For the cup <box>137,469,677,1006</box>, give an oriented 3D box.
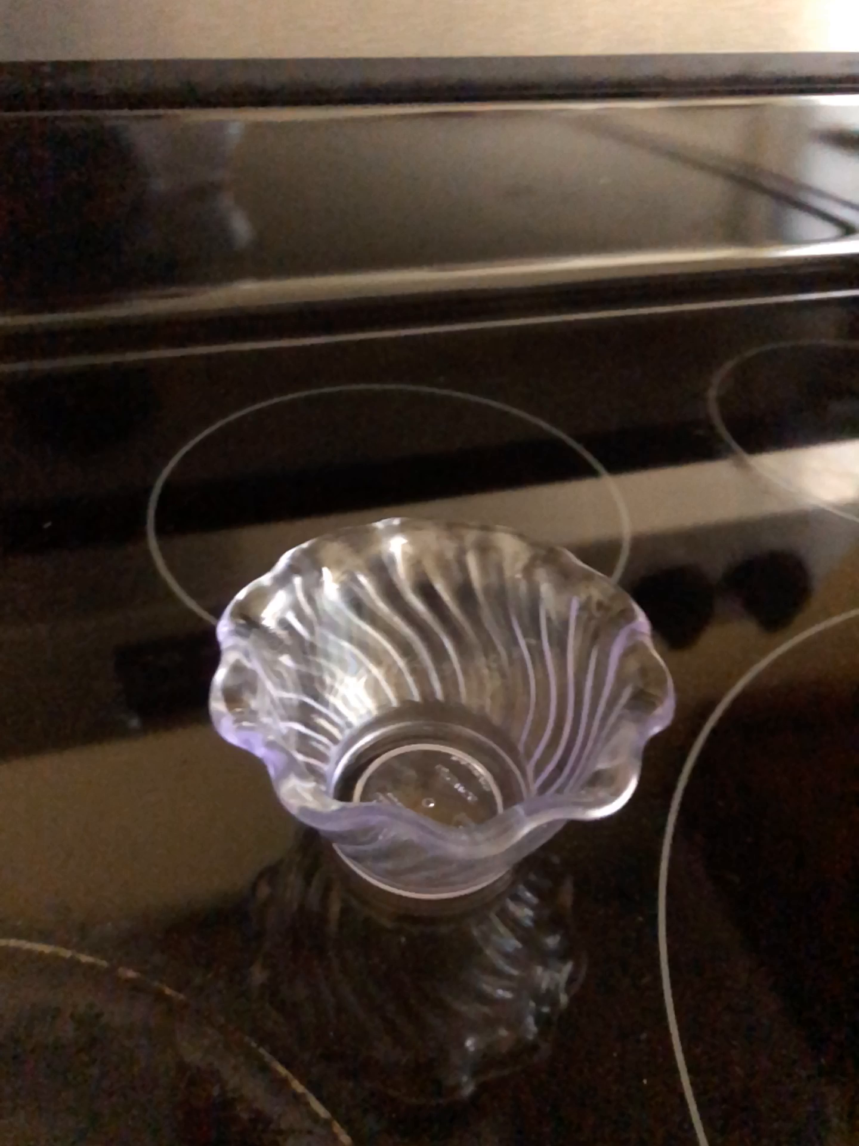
[{"bbox_3d":[0.002,0.029,0.210,0.091,0.049,0.091,2,39,-2],"label":"cup"}]
